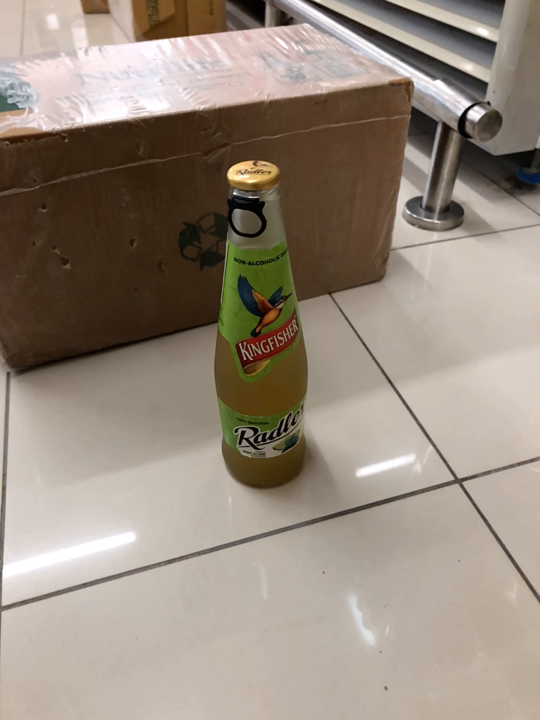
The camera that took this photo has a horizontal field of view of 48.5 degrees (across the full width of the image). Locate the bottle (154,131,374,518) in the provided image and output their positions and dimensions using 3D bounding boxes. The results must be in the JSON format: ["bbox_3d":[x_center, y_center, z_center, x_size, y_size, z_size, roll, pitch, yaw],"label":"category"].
[{"bbox_3d":[-0.005,-0.013,0.344,0.080,0.199,0.080,-1,40,1],"label":"bottle"}]
